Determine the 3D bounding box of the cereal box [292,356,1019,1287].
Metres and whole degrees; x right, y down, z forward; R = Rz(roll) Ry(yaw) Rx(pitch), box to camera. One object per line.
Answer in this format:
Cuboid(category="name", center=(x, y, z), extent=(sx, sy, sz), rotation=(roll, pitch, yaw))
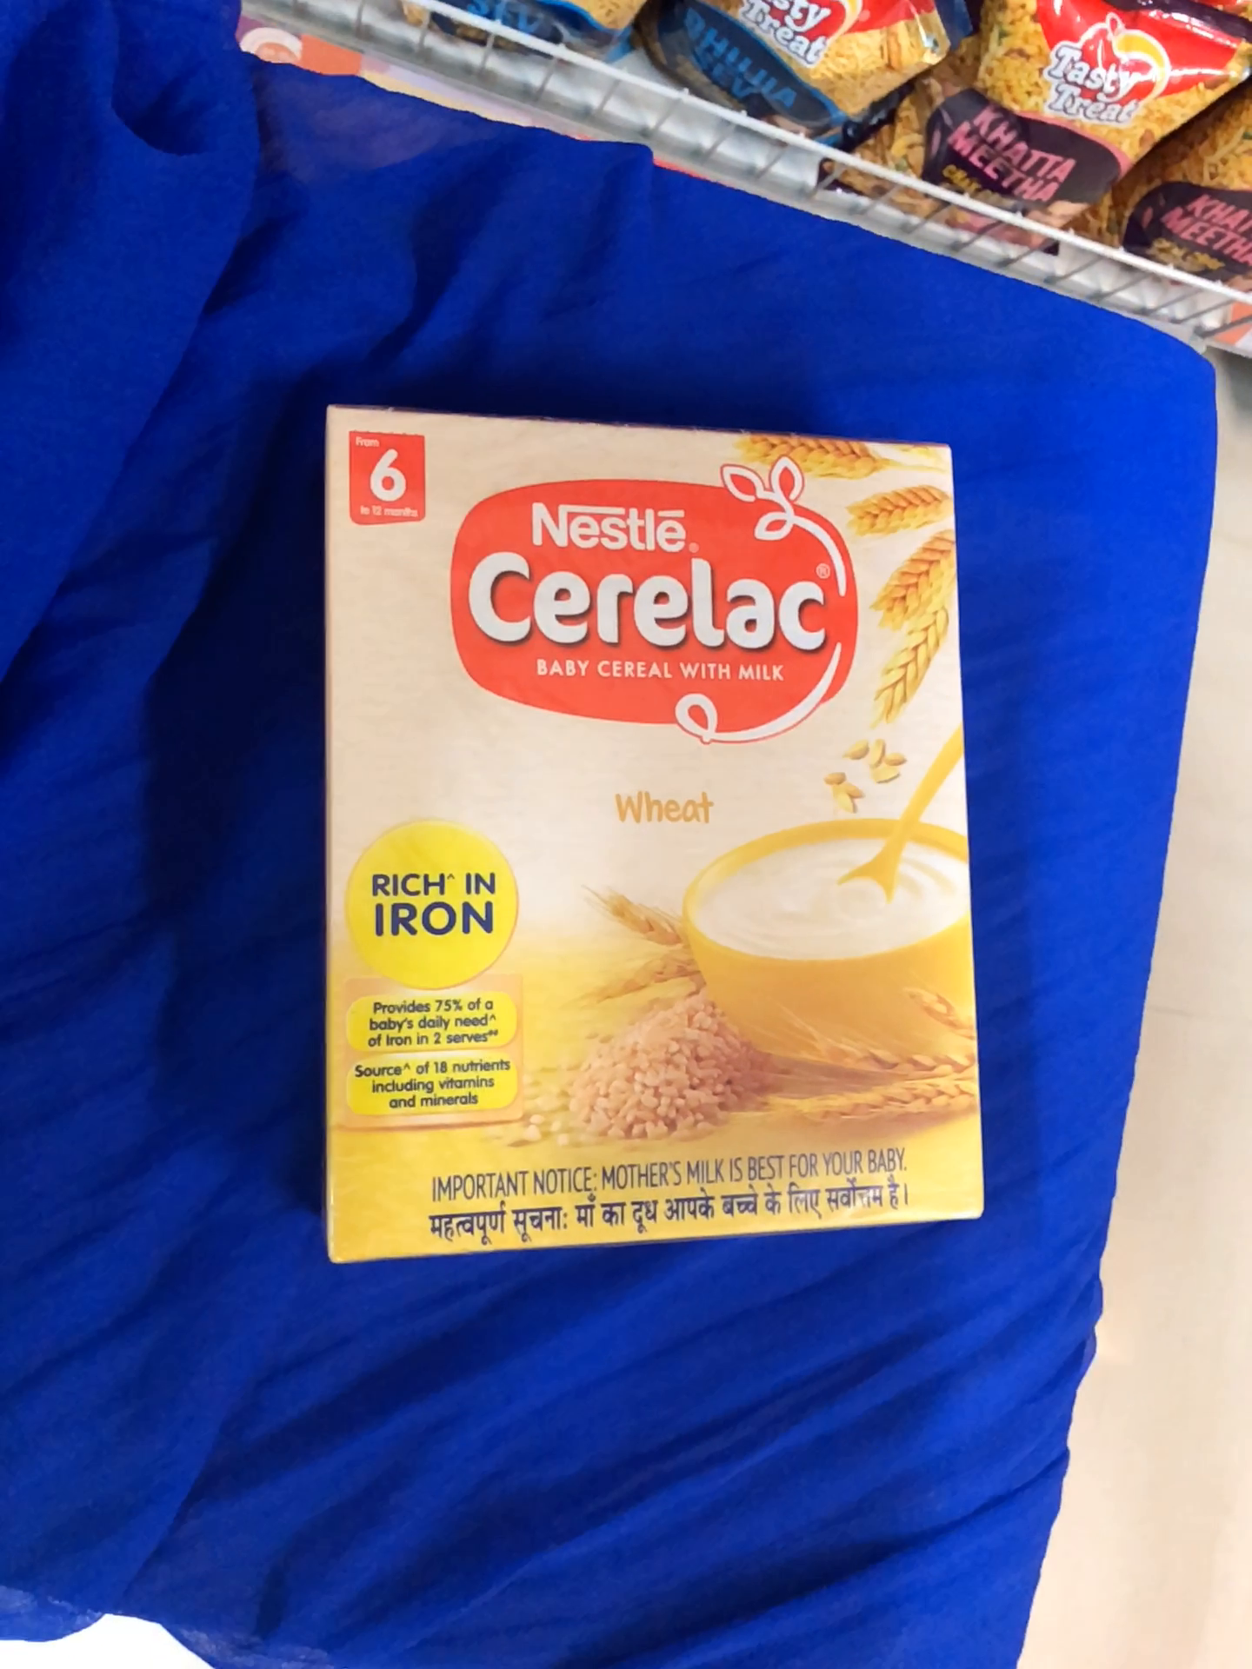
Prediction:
Cuboid(category="cereal box", center=(0.004, -0.003, 0.335), extent=(0.160, 0.060, 0.190), rotation=(0, 85, -17))
